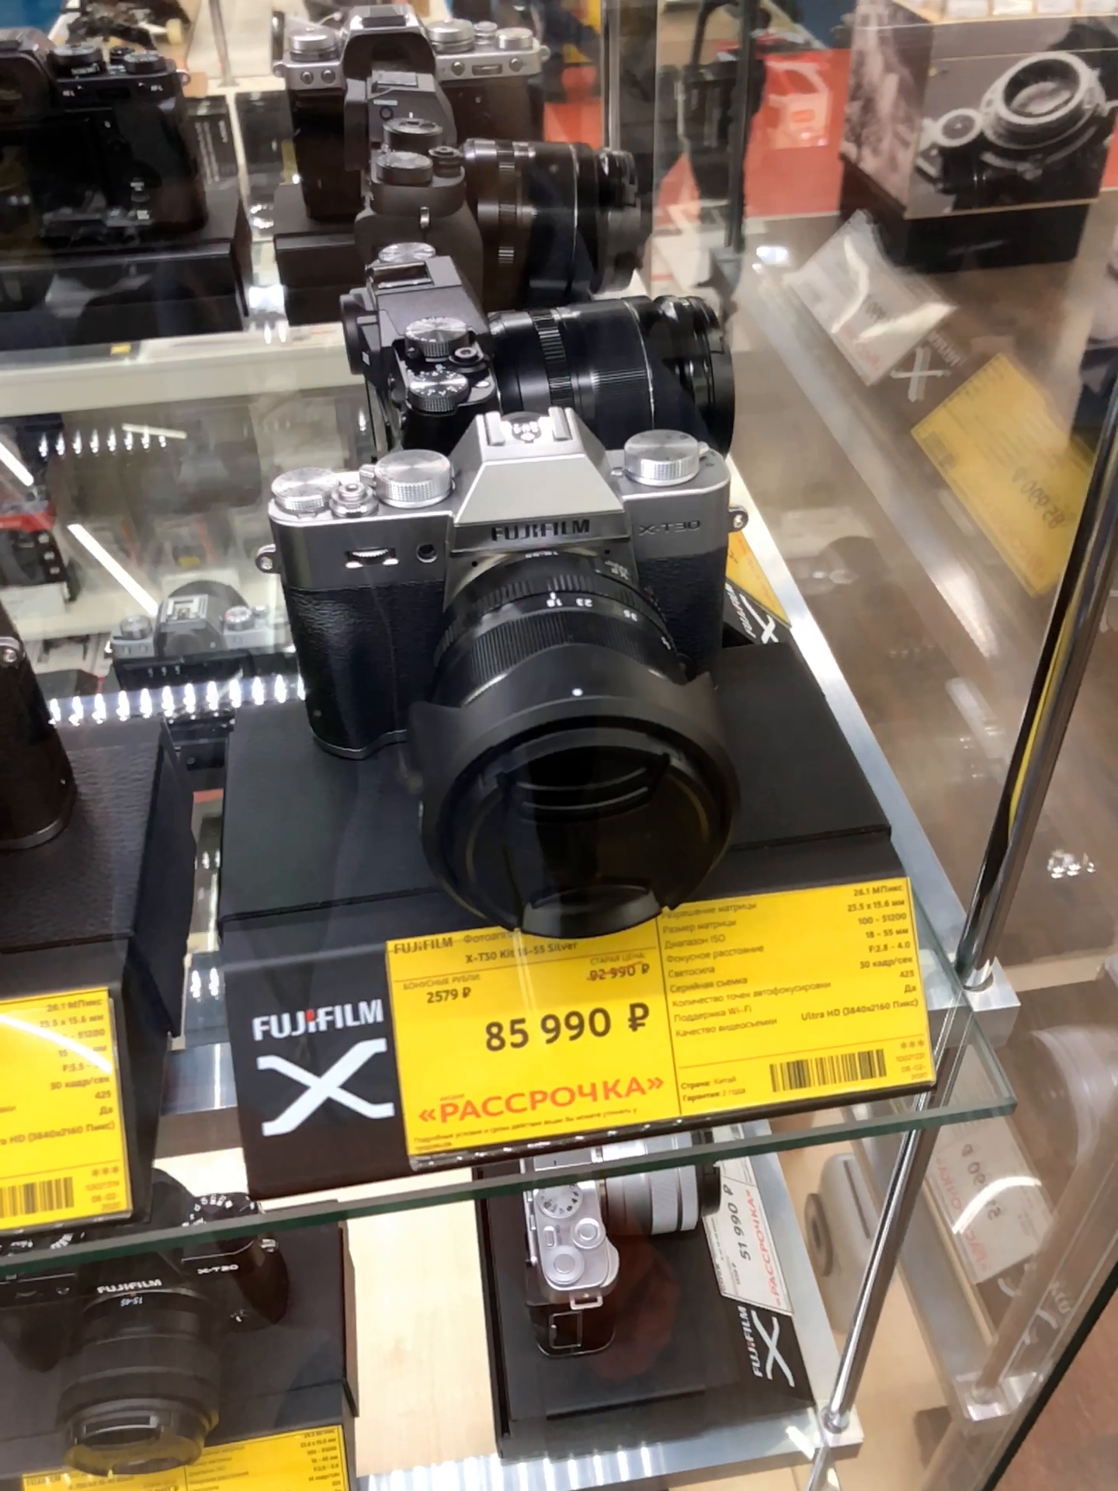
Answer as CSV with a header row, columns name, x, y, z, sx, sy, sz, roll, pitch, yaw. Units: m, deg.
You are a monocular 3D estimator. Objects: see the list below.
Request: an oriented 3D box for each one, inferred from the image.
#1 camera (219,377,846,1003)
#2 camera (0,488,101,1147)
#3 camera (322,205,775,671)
name,x,y,z,sx,sy,sz,roll,pitch,yaw
camera,-0.012,-0.019,0.309,0.120,0.088,0.121,-7,42,-6
camera,-0.192,0.012,0.283,0.135,0.088,0.104,-6,42,-6
camera,-0.011,-0.112,0.424,0.123,0.088,0.145,-7,42,-7
